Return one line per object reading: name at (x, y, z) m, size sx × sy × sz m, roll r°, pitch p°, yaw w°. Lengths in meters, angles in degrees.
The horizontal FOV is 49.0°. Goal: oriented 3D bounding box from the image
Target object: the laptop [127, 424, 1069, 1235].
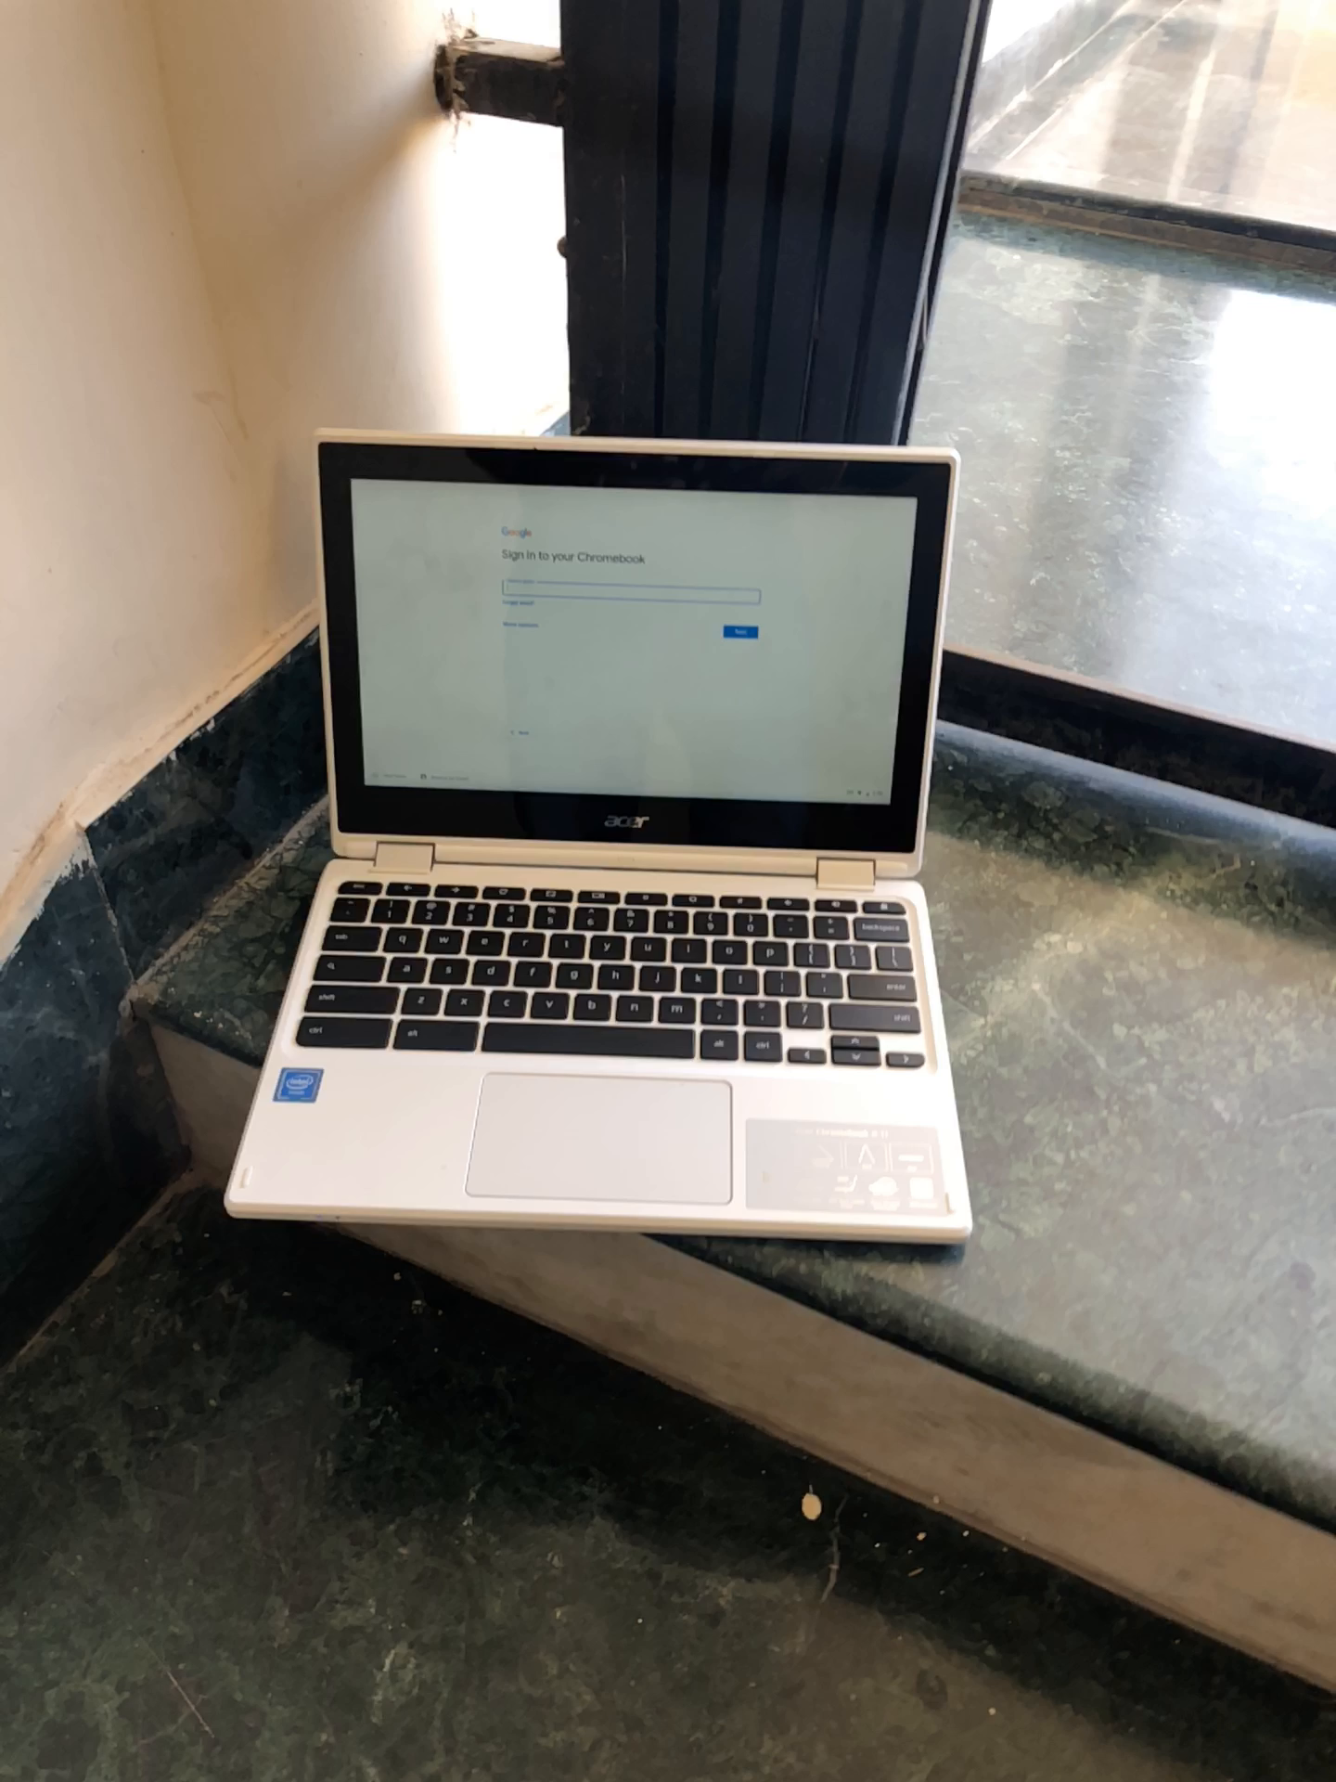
laptop at (-0.018, -0.036, 0.590) m, size 0.278 × 0.178 × 0.272 m, roll 2°, pitch 42°, yaw 0°
